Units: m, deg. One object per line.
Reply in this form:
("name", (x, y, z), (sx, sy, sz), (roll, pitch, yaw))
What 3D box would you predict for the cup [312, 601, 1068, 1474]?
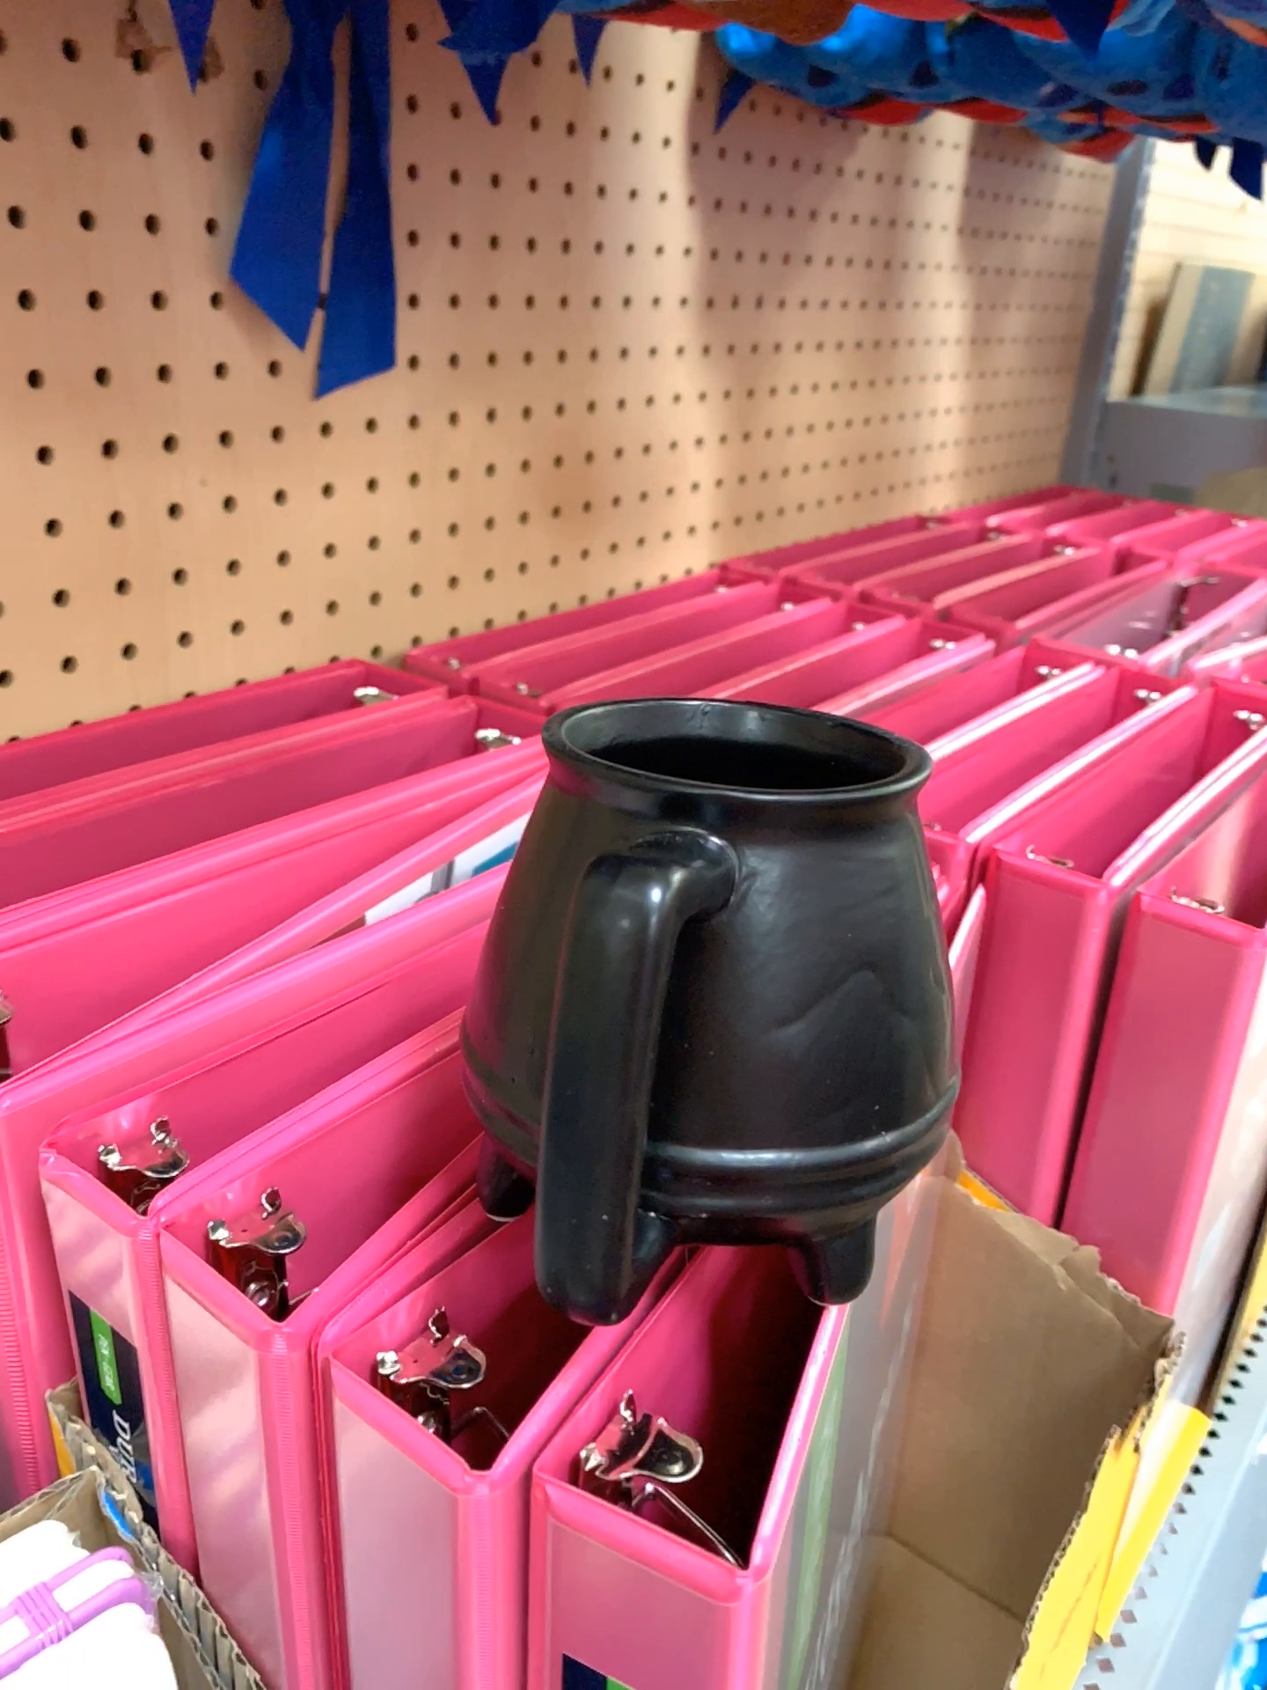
("cup", (0.017, 0.019, 0.245), (0.097, 0.093, 0.122), (13, 24, 17))
